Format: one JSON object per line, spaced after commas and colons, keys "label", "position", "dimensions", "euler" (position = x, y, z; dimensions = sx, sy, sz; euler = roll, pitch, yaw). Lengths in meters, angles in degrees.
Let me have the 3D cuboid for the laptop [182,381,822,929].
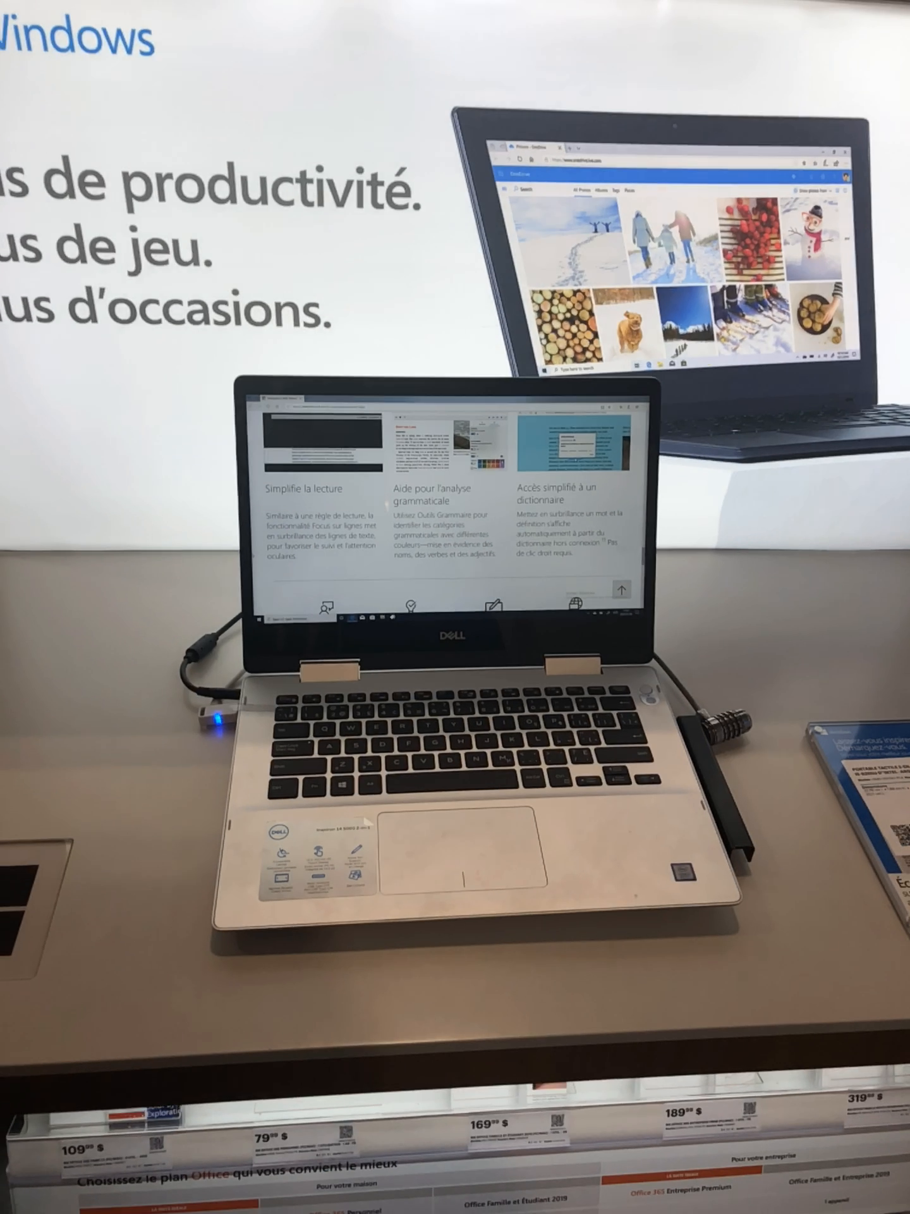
{"label": "laptop", "position": [0.008, 0.008, 0.682], "dimensions": [0.316, 0.193, 0.338], "euler": [-1, 37, -5]}
